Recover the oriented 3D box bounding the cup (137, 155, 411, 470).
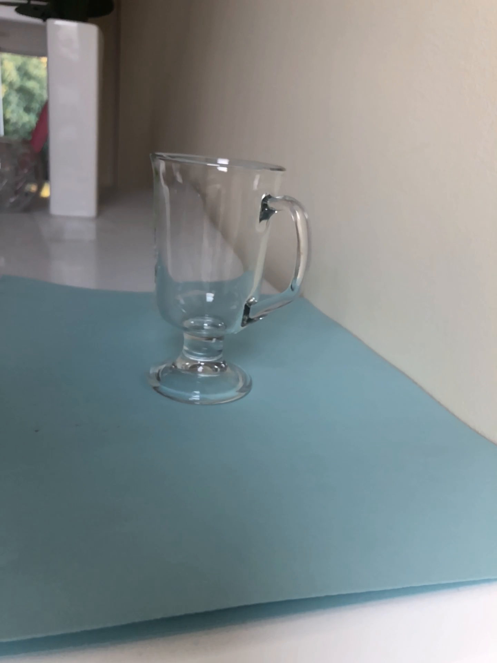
[{"bbox_3d":[0.008,-0.018,0.272,0.100,0.119,0.070,18,22,33],"label":"cup"}]
